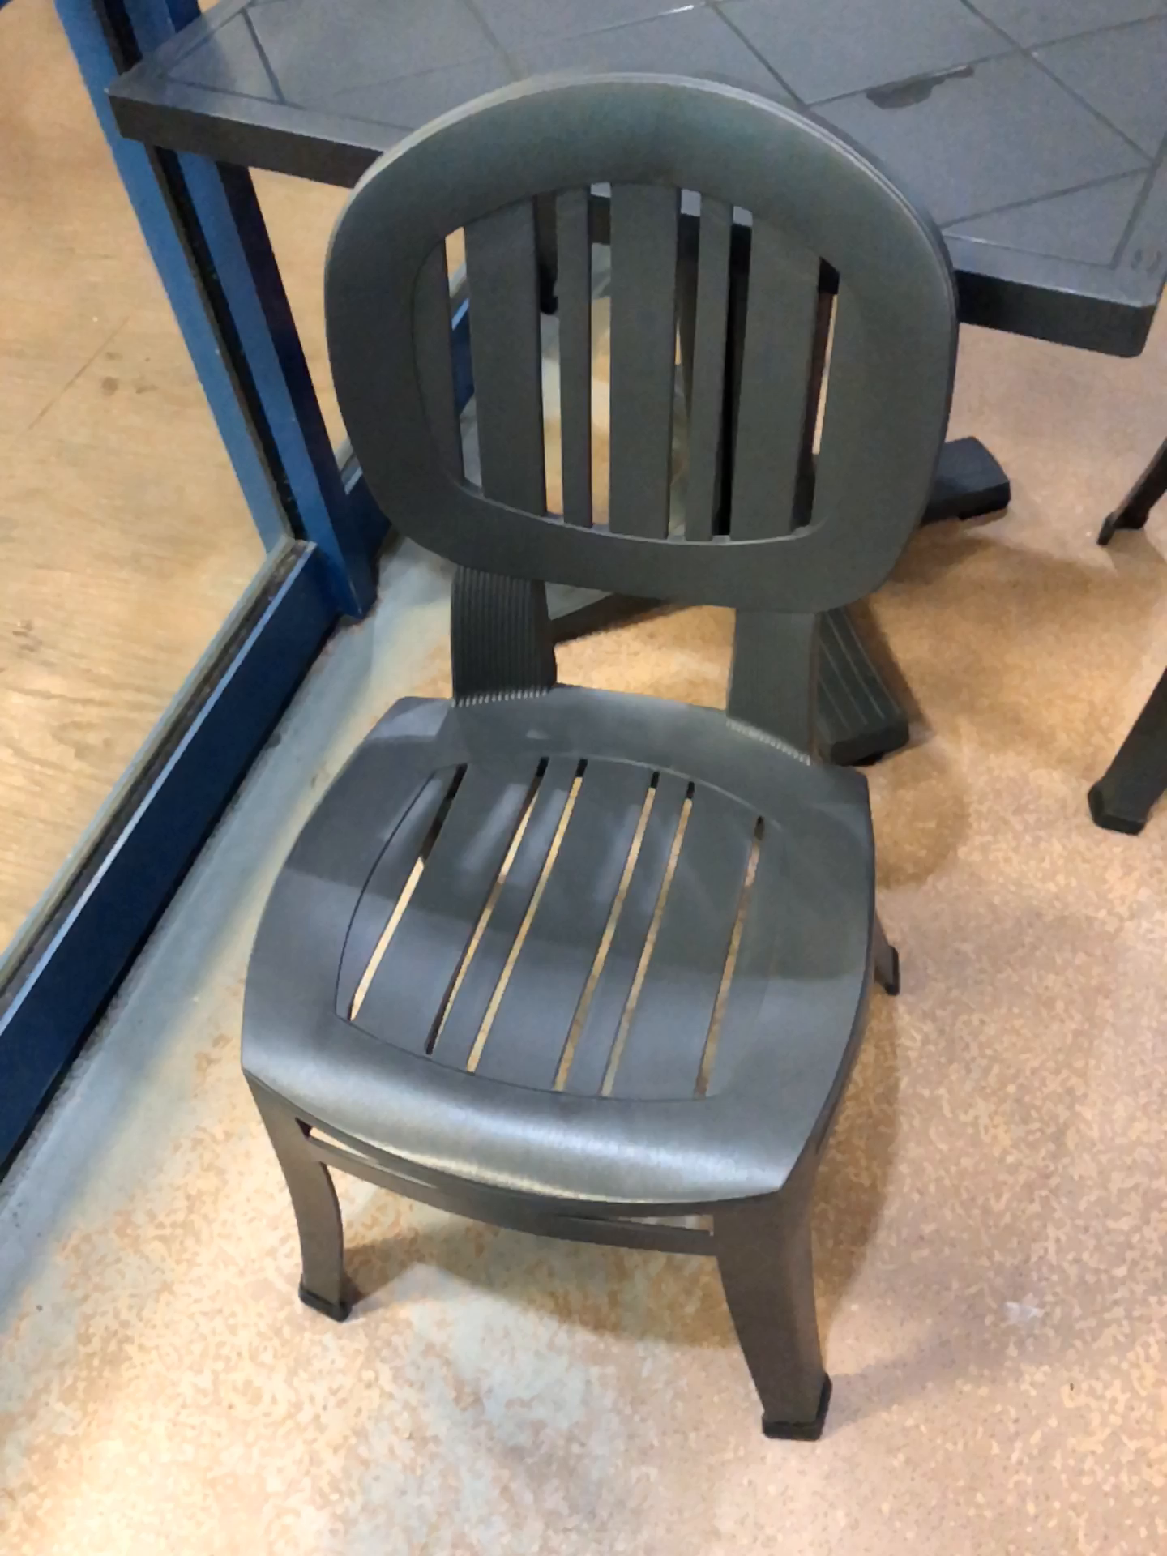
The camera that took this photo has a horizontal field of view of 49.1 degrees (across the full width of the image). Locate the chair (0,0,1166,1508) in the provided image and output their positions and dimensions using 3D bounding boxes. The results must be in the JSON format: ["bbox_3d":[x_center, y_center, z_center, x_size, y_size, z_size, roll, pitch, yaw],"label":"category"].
[{"bbox_3d":[-0.003,0.027,0.779,0.500,0.736,0.553,10,57,12],"label":"chair"}]
